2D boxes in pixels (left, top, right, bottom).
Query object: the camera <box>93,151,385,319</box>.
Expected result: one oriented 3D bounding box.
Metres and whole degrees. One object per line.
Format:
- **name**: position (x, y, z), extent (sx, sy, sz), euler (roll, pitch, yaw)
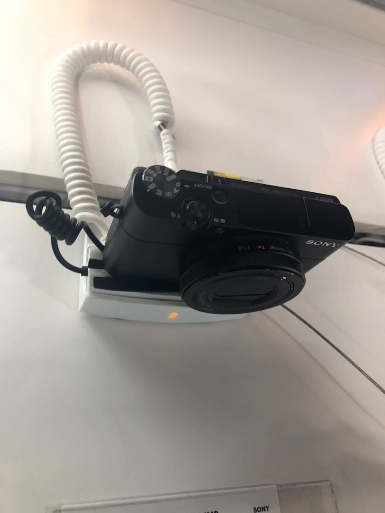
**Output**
- **camera**: position (0.015, -0.002, 0.180), extent (0.101, 0.063, 0.032), euler (6, 60, -20)
